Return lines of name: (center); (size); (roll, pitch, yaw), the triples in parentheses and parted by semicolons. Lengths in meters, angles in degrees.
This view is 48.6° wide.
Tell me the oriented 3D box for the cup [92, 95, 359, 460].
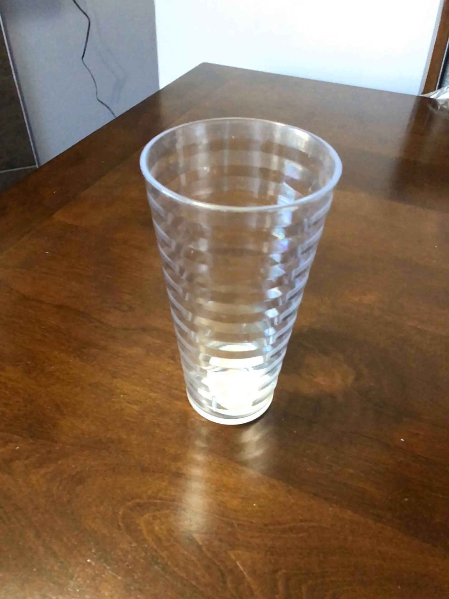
cup: (0.004, -0.010, 0.304); (0.100, 0.179, 0.100); (1, 41, -1)
